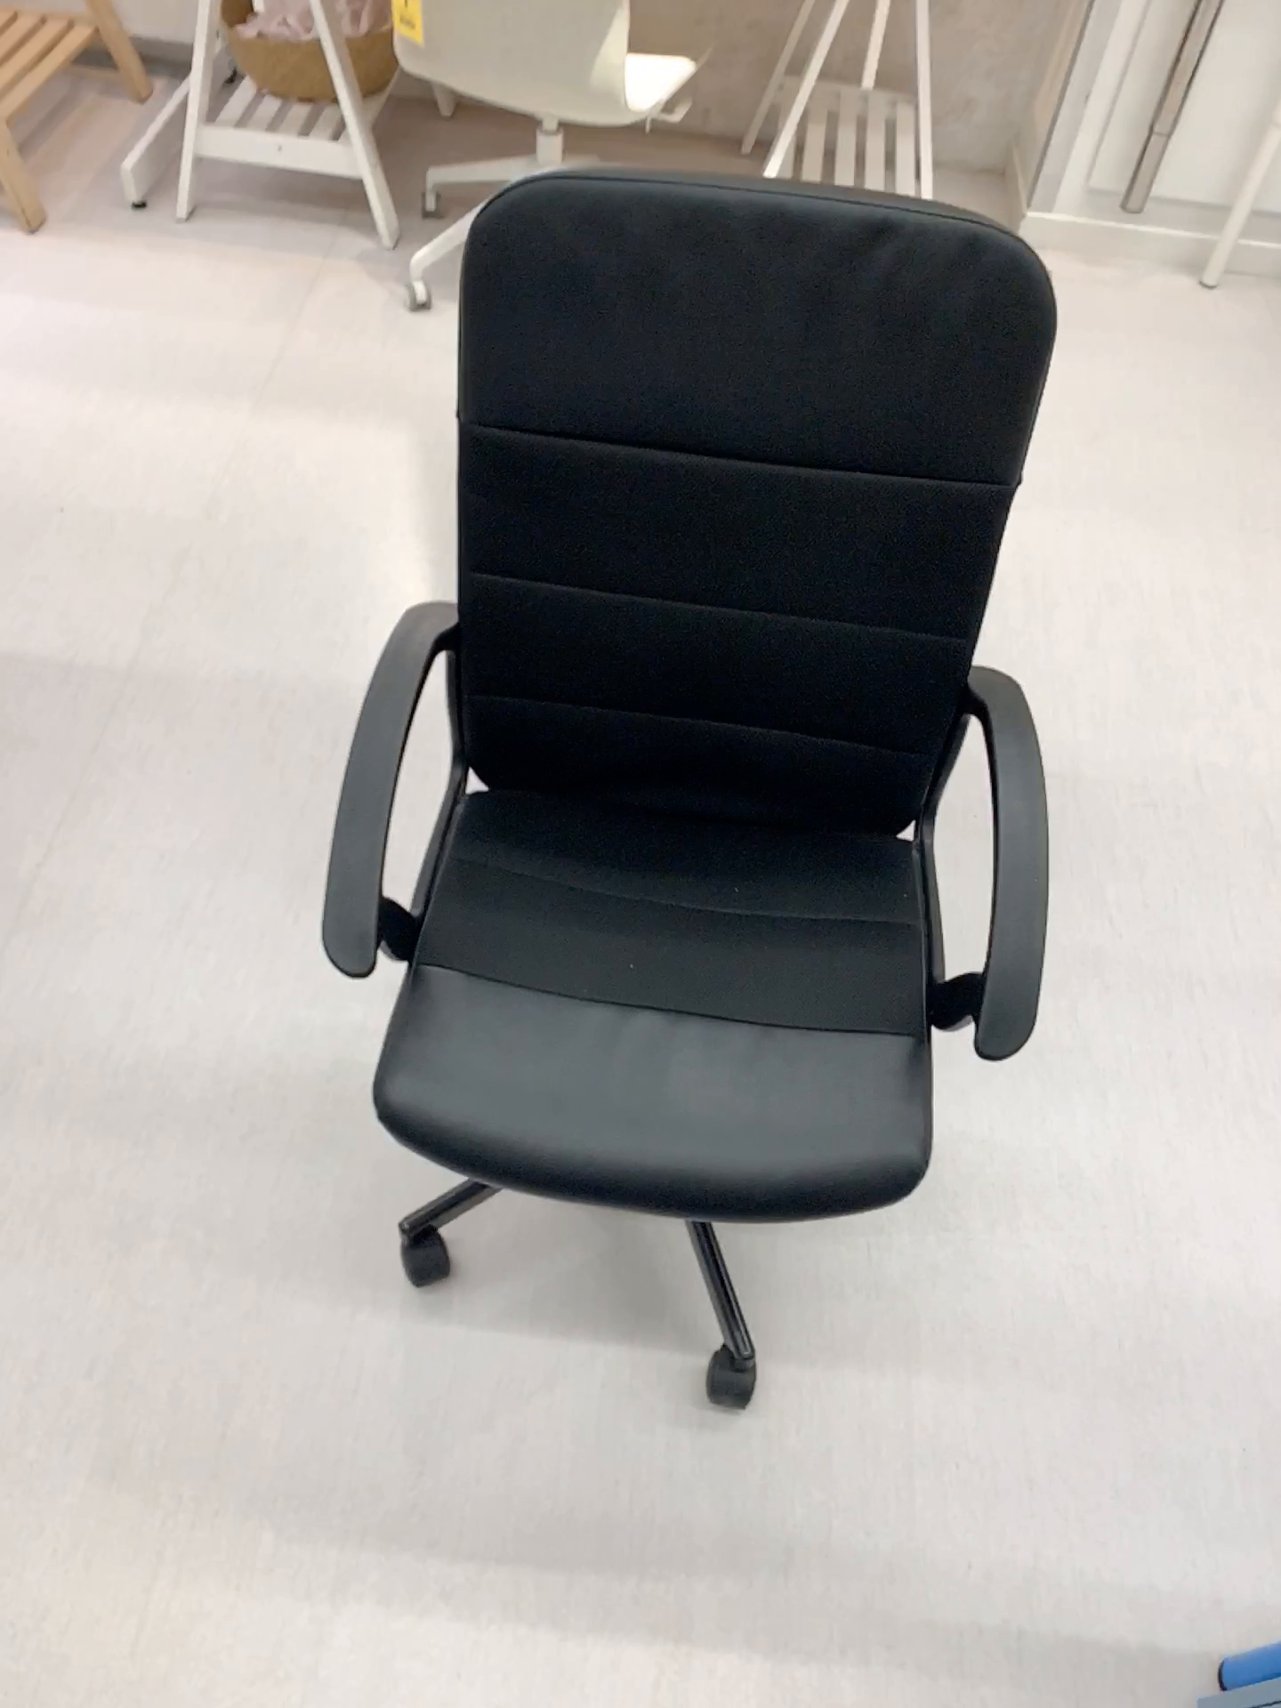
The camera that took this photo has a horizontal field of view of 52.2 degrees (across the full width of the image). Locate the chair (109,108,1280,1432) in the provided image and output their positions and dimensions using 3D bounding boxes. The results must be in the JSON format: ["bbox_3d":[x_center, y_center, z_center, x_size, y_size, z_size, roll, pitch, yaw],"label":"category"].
[{"bbox_3d":[0.052,0.040,1.137,0.610,0.997,0.582,5,52,-2],"label":"chair"}]
